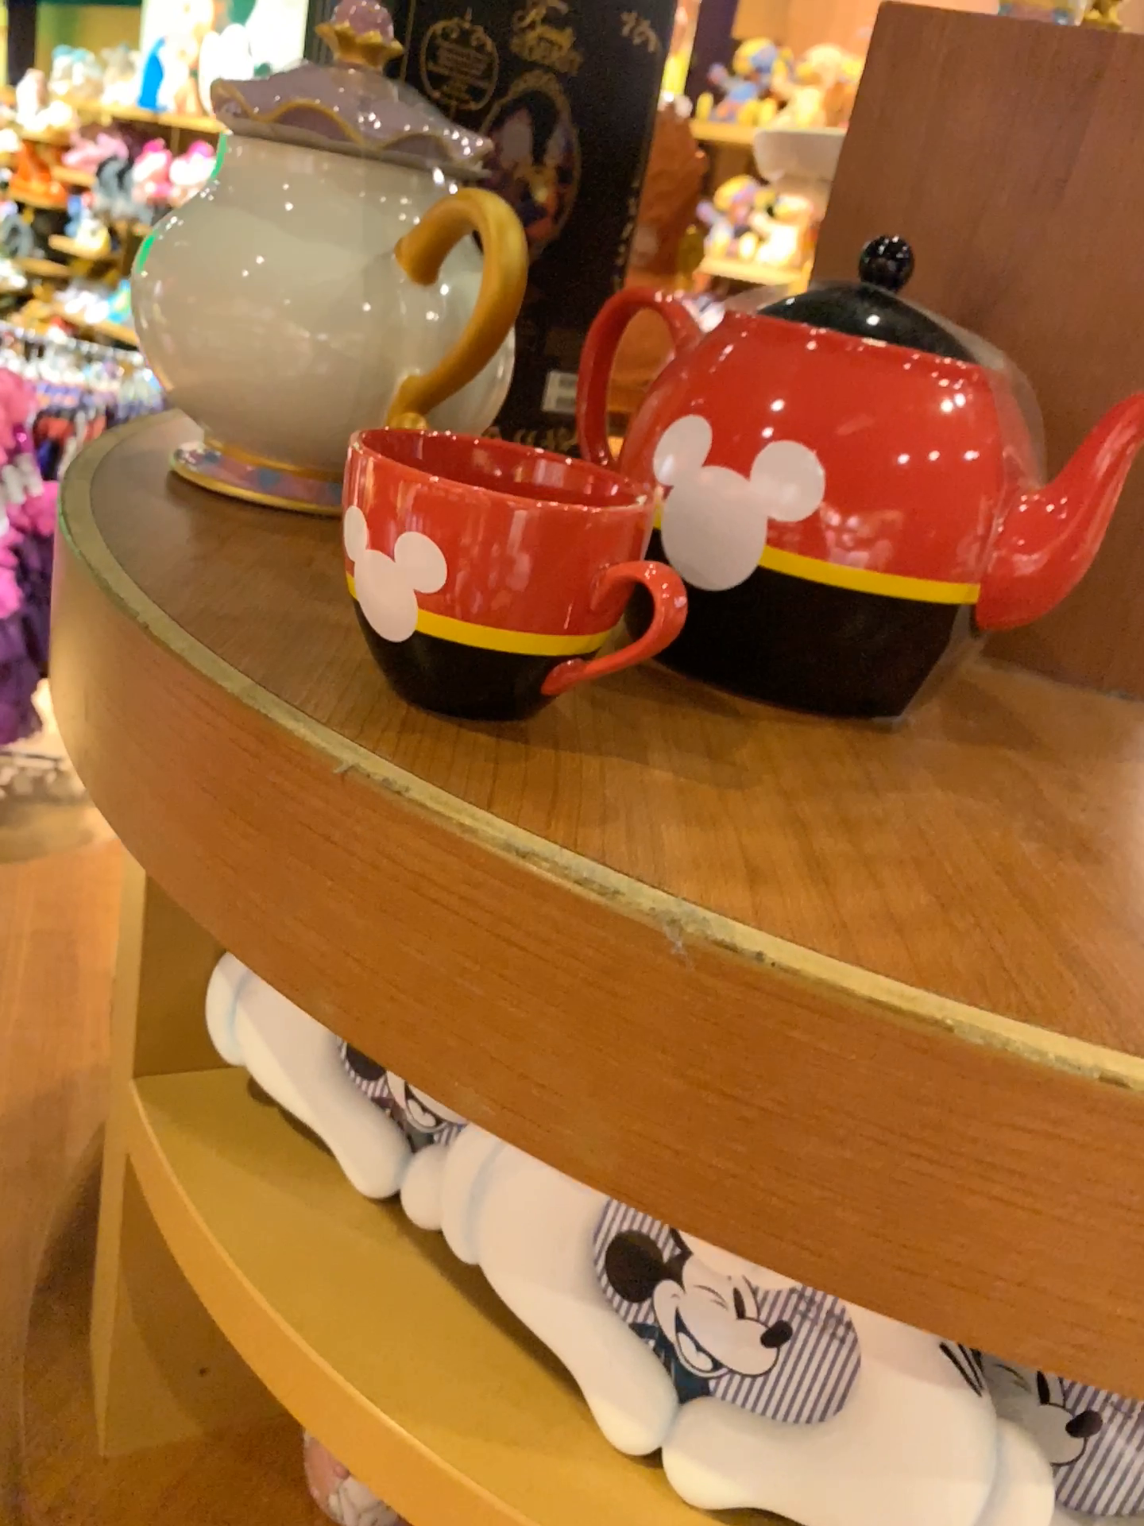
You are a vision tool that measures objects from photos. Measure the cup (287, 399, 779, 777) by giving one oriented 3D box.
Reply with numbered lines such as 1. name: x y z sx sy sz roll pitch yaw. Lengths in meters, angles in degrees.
1. cup: -0.014 -0.052 0.324 0.077 0.065 0.100 -11 32 -44
